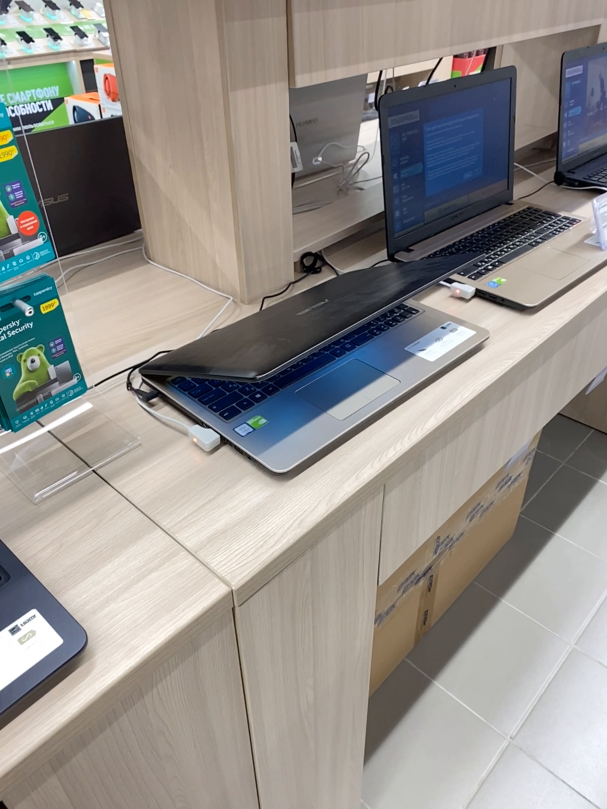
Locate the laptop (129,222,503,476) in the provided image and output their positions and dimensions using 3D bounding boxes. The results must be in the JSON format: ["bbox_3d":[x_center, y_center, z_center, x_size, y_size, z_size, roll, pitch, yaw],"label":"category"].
[{"bbox_3d":[0.027,-0.098,0.750,0.382,0.094,0.241,-30,46,-35],"label":"laptop"}]

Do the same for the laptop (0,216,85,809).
[{"bbox_3d":[-0.416,0.103,0.347,0.318,0.235,0.421,29,46,35],"label":"laptop"}]
